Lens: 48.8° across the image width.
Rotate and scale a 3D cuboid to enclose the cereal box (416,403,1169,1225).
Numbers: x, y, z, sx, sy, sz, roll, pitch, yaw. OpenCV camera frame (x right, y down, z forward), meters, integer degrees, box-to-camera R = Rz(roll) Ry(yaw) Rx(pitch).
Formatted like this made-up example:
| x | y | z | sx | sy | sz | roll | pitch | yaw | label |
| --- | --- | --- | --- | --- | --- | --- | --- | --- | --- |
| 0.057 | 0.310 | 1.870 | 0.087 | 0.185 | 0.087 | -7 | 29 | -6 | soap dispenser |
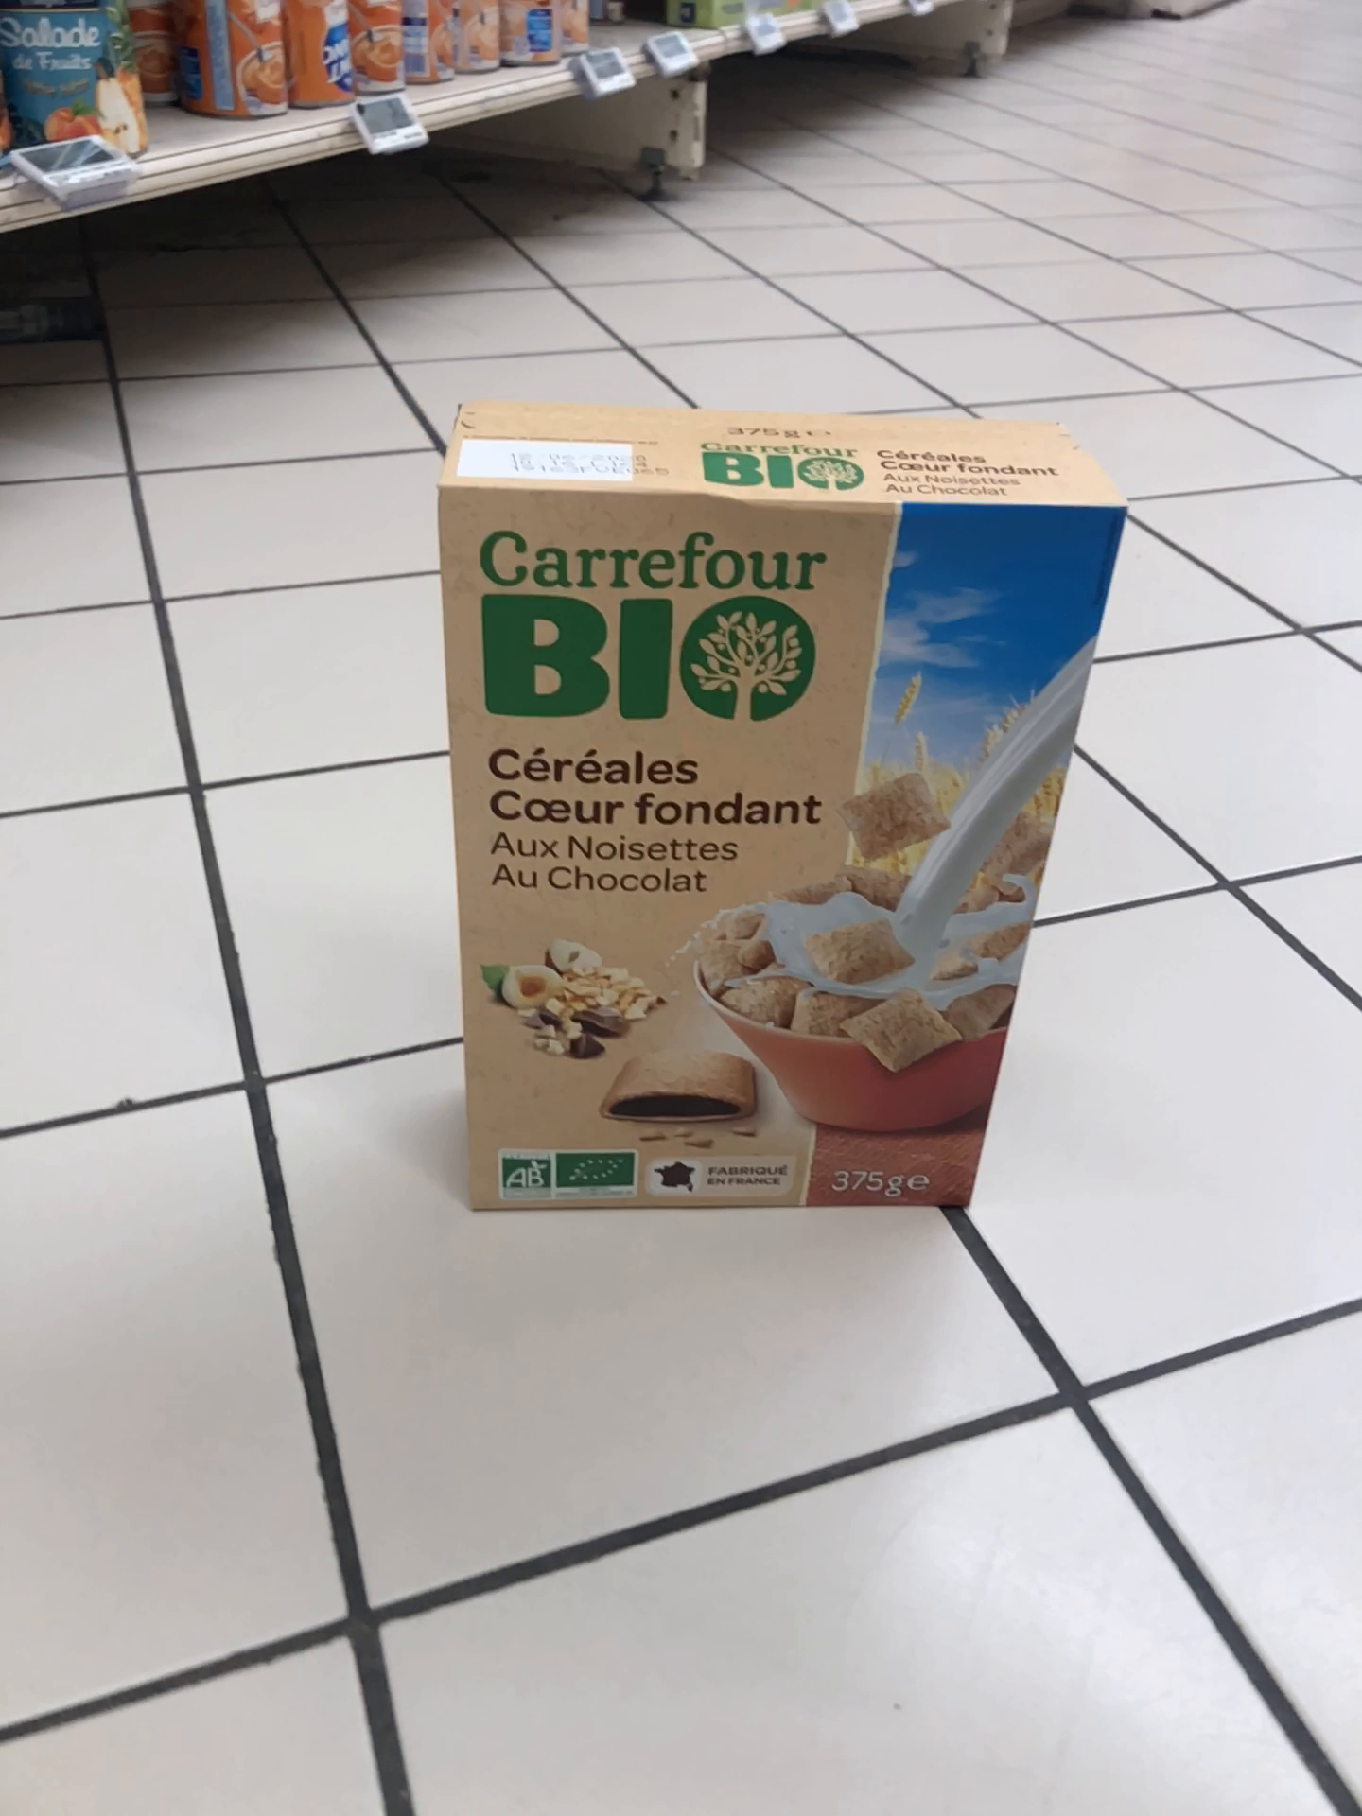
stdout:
| x | y | z | sx | sy | sz | roll | pitch | yaw | label |
| --- | --- | --- | --- | --- | --- | --- | --- | --- | --- |
| 0.020 | -0.016 | 0.430 | 0.170 | 0.229 | 0.070 | 0 | 35 | -4 | cereal box |
